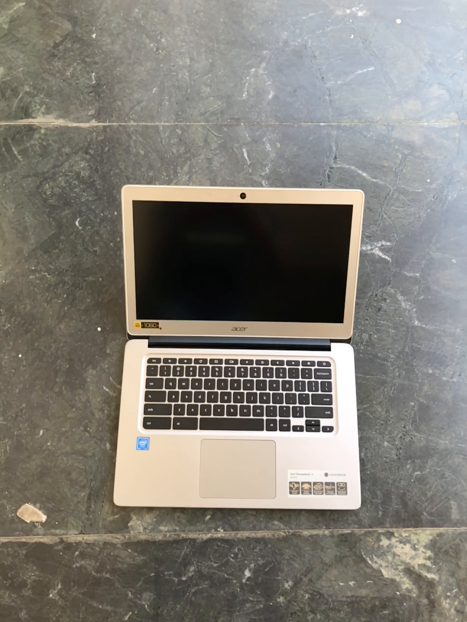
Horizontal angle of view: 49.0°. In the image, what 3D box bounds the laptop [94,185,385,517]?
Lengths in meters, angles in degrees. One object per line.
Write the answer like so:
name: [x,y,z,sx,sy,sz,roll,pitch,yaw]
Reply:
laptop: [0.010,0.050,0.709,0.338,0.117,0.424,1,74,-1]
